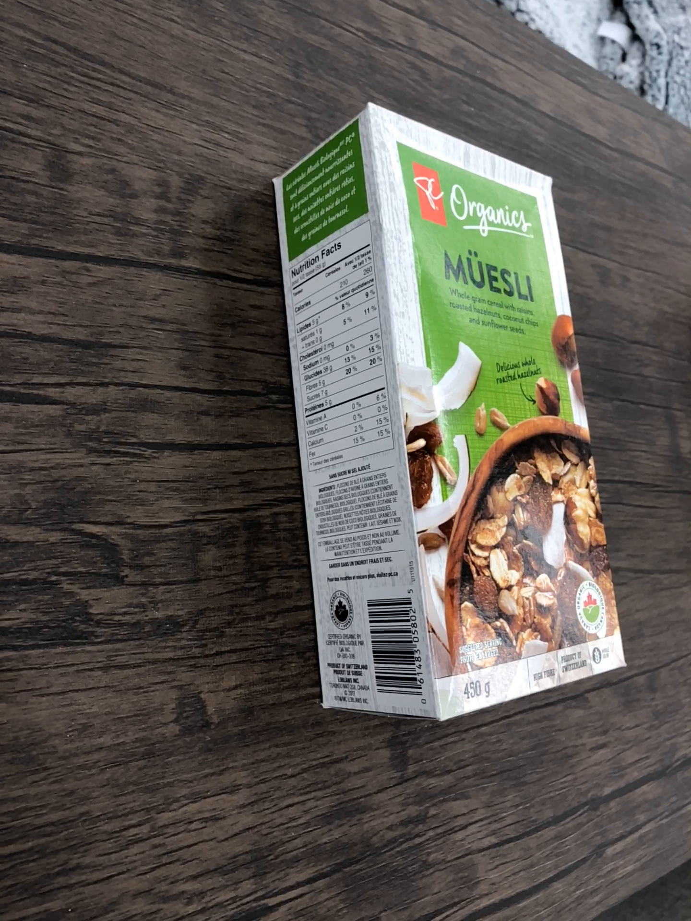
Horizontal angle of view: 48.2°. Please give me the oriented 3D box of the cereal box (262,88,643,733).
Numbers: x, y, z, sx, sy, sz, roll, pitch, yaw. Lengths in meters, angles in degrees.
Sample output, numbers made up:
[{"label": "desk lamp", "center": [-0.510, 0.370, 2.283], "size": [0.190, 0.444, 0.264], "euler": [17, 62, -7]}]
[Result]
[{"label": "cereal box", "center": [0.048, -0.018, 0.338], "size": [0.131, 0.070, 0.230], "euler": [-1, 82, -40]}]
